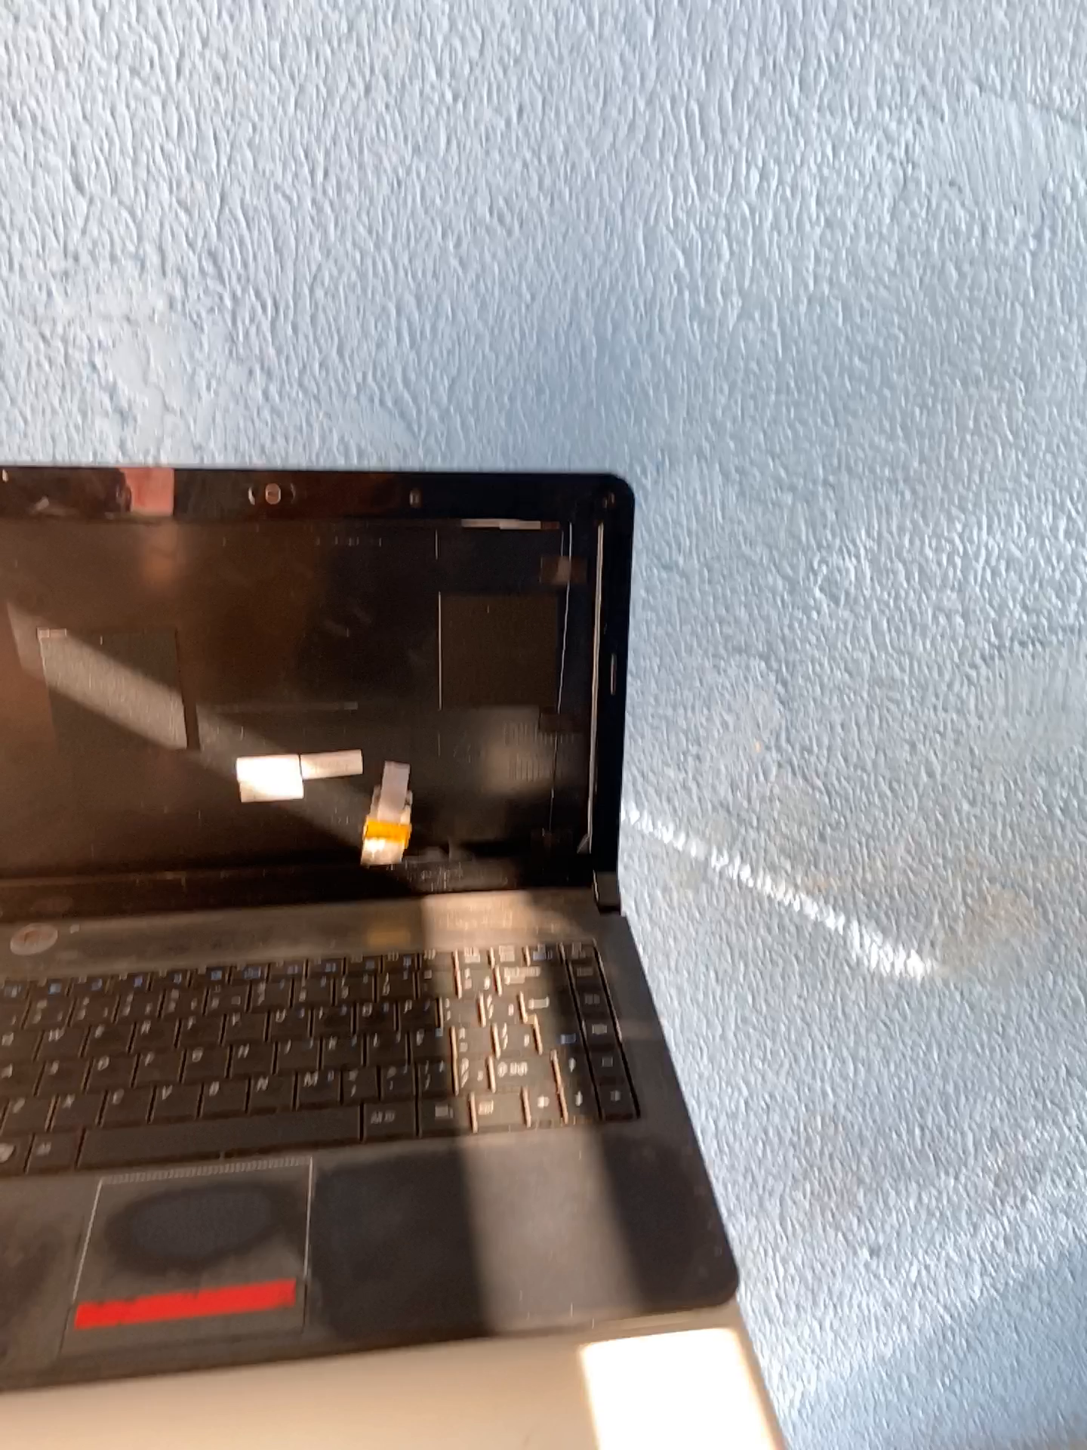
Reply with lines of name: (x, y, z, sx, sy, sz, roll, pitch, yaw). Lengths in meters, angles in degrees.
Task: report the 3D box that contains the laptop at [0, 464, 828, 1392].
laptop: (-0.114, 0.047, 0.453, 0.334, 0.216, 0.277, -1, 29, -9)
